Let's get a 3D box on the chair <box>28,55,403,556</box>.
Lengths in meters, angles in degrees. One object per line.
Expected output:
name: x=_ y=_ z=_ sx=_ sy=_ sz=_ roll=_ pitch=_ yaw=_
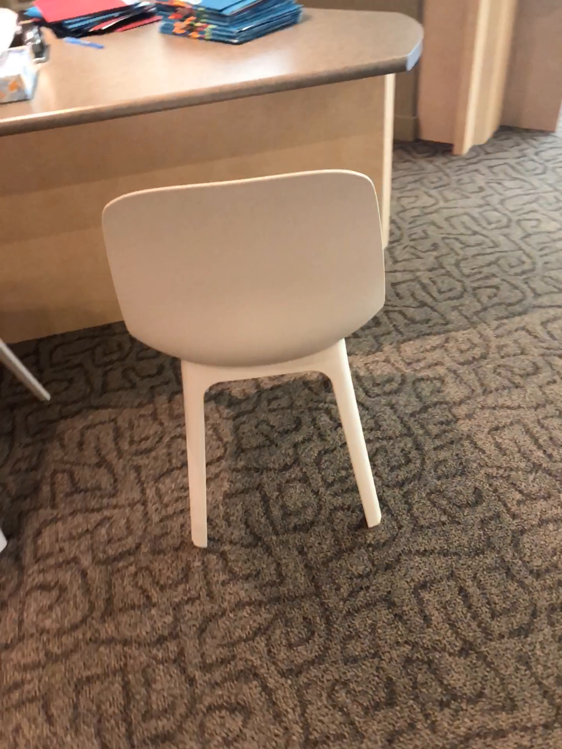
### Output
chair: x=-0.071 y=-0.118 z=1.249 sx=0.480 sy=0.795 sz=0.554 roll=-6 pitch=42 yaw=0
